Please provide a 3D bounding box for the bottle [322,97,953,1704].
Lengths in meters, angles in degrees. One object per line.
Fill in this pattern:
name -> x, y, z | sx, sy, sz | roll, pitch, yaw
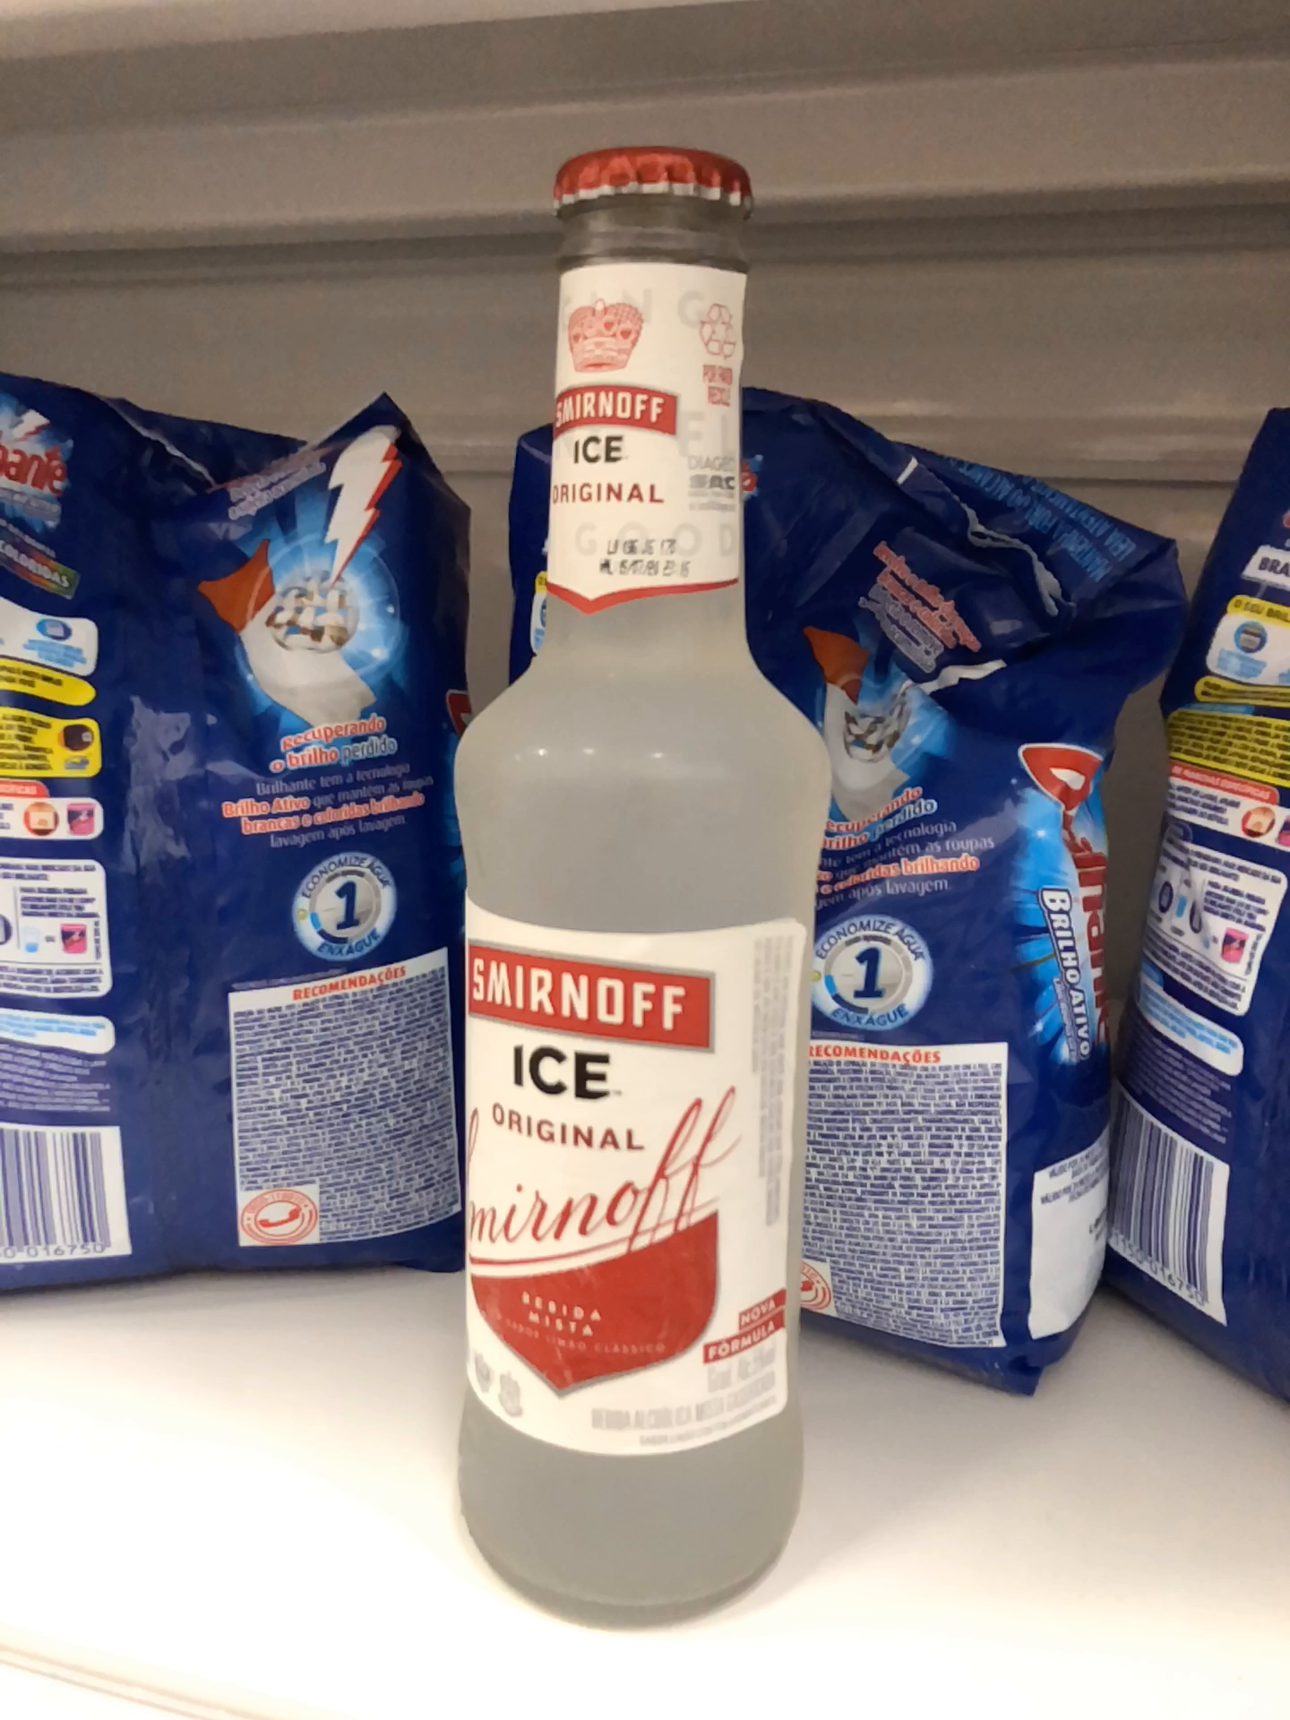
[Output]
bottle -> -0.001, 0.007, 0.223 | 0.070, 0.209, 0.060 | 7, 13, 24
